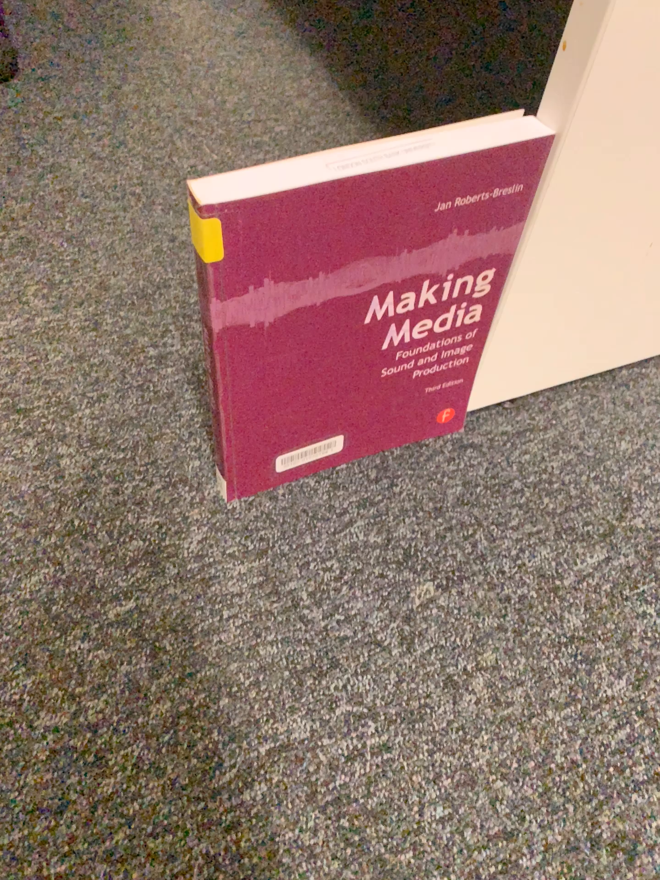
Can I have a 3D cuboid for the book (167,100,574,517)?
[{"bbox_3d":[0.019,-0.065,0.407,0.200,0.228,0.036,-20,56,-19],"label":"book"}]
